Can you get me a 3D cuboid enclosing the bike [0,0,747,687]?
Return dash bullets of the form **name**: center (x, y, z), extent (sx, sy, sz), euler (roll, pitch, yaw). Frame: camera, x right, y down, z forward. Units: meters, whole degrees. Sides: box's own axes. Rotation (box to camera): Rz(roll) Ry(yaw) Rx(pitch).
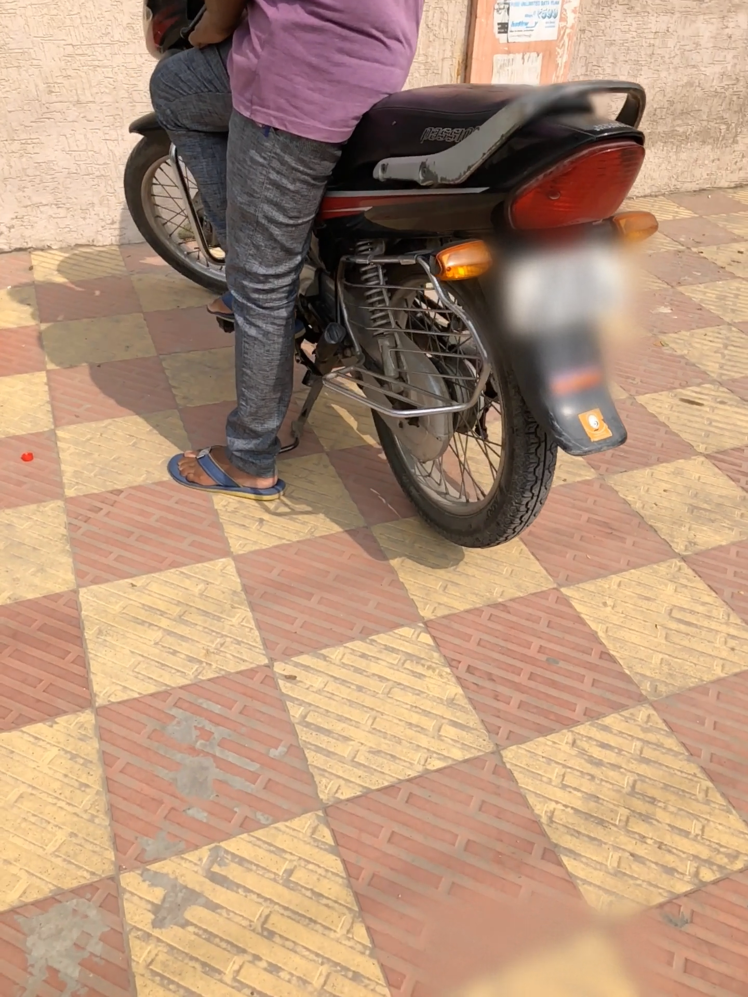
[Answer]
- **bike**: center (-0.276, -0.669, 1.782), extent (0.895, 1.066, 1.725), euler (-23, 44, -29)
